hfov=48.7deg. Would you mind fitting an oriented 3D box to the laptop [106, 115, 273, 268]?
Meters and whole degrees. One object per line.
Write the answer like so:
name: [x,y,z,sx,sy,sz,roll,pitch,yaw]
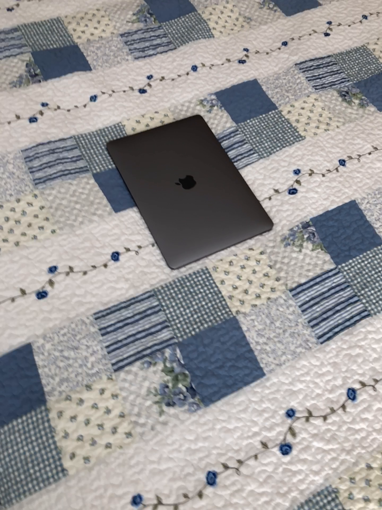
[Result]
laptop: [-0.008,-0.132,0.781,0.201,0.005,0.290,-22,66,-16]
